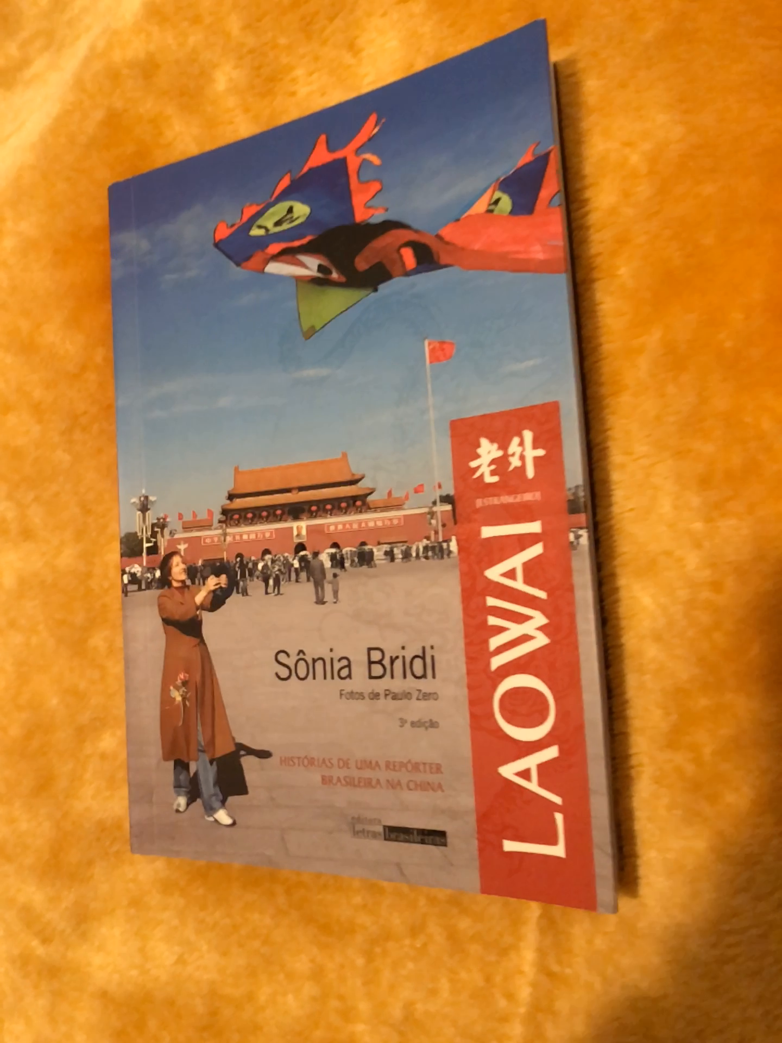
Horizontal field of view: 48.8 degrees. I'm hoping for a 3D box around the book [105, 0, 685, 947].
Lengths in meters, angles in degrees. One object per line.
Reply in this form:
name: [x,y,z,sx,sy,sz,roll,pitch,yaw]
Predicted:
book: [-0.012,-0.016,0.265,0.171,0.040,0.240,-7,83,32]
